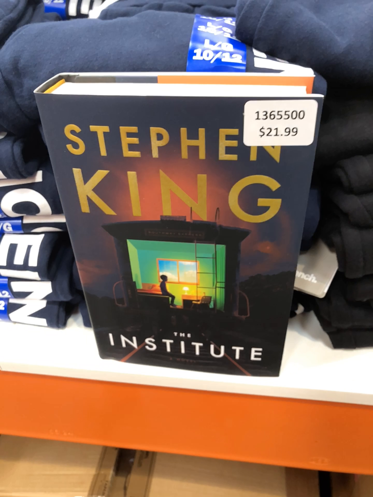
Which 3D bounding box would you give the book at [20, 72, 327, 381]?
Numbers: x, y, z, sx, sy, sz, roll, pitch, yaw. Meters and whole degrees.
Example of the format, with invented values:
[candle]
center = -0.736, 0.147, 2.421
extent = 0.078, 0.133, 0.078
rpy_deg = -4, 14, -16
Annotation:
[book]
center = -0.004, -0.003, 0.309
extent = 0.167, 0.229, 0.050
rpy_deg = 4, 36, 8
